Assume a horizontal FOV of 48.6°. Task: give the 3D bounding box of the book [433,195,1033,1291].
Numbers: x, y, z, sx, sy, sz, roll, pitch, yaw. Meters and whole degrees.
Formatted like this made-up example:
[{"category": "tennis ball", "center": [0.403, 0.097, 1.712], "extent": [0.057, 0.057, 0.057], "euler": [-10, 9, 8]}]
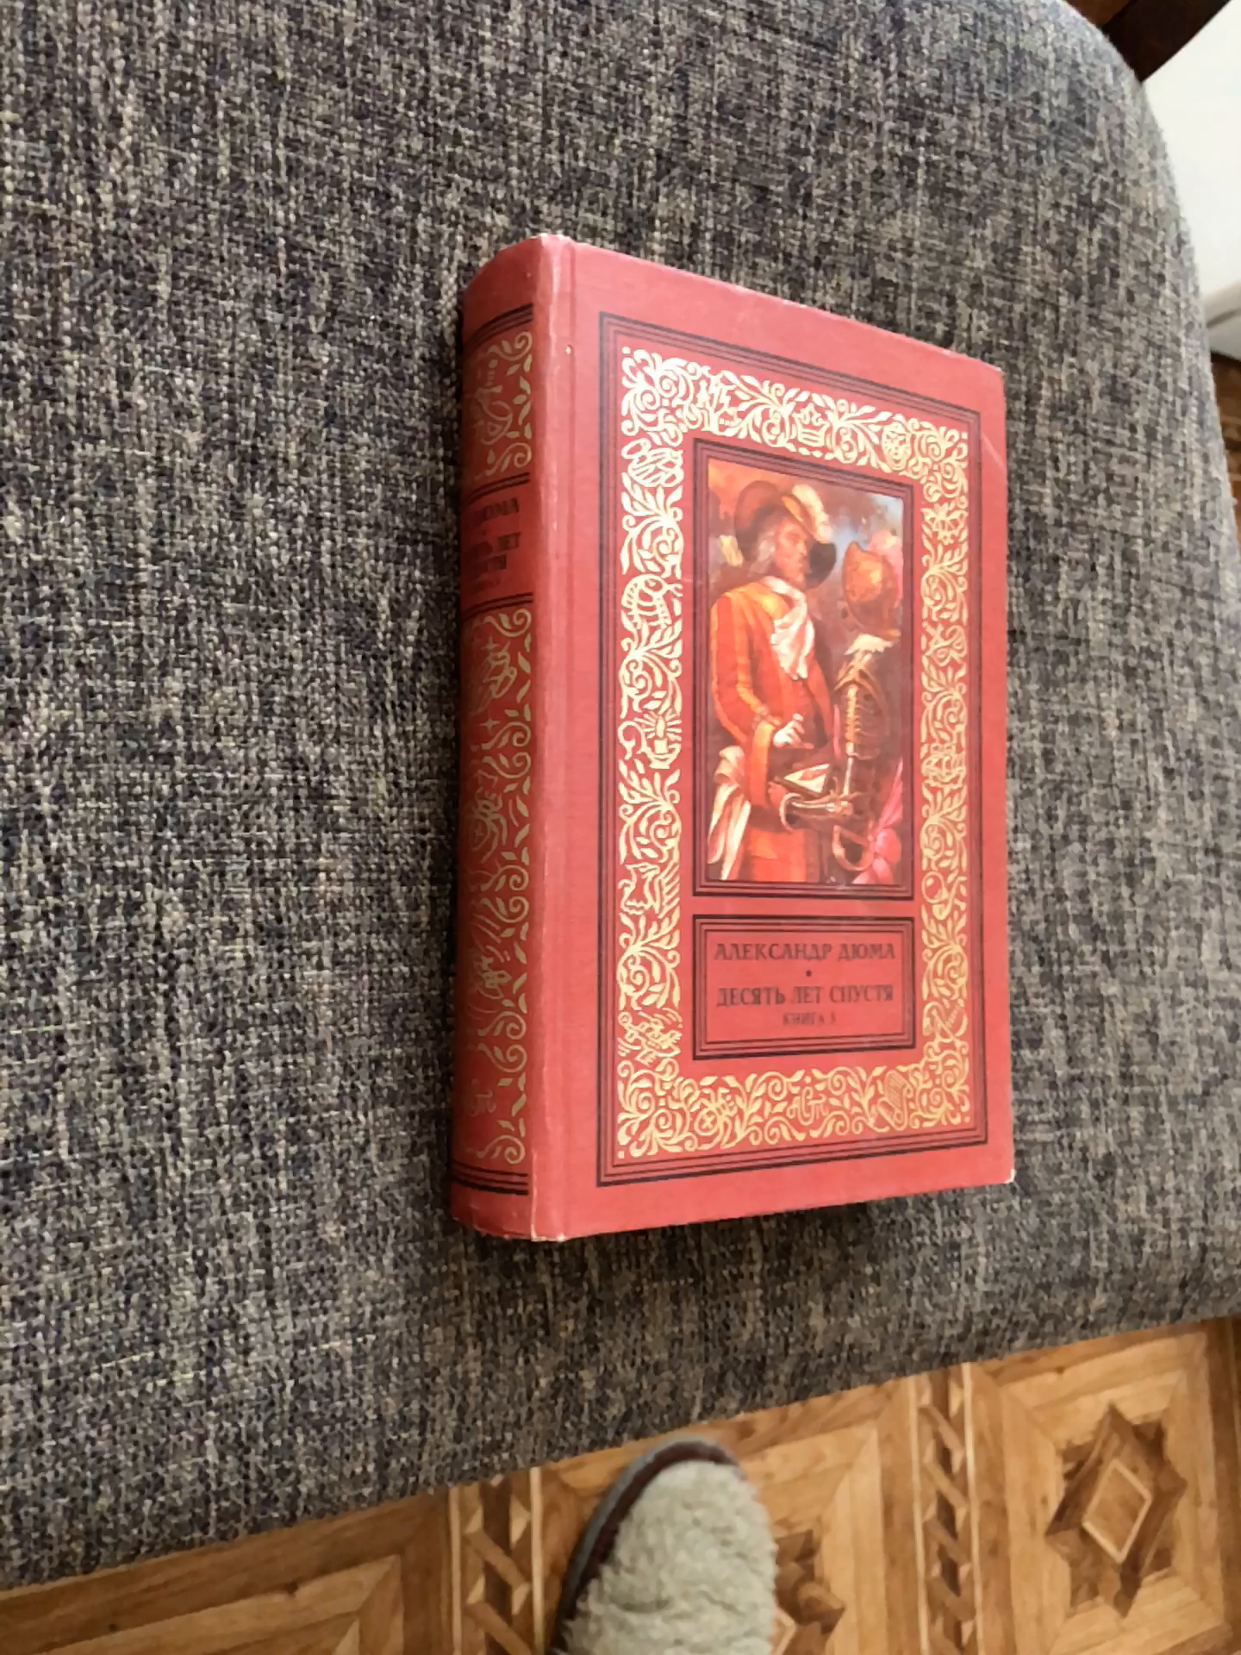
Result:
[{"category": "book", "center": [0.028, -0.015, 0.306], "extent": [0.132, 0.038, 0.206], "euler": [3, 85, -30]}]
